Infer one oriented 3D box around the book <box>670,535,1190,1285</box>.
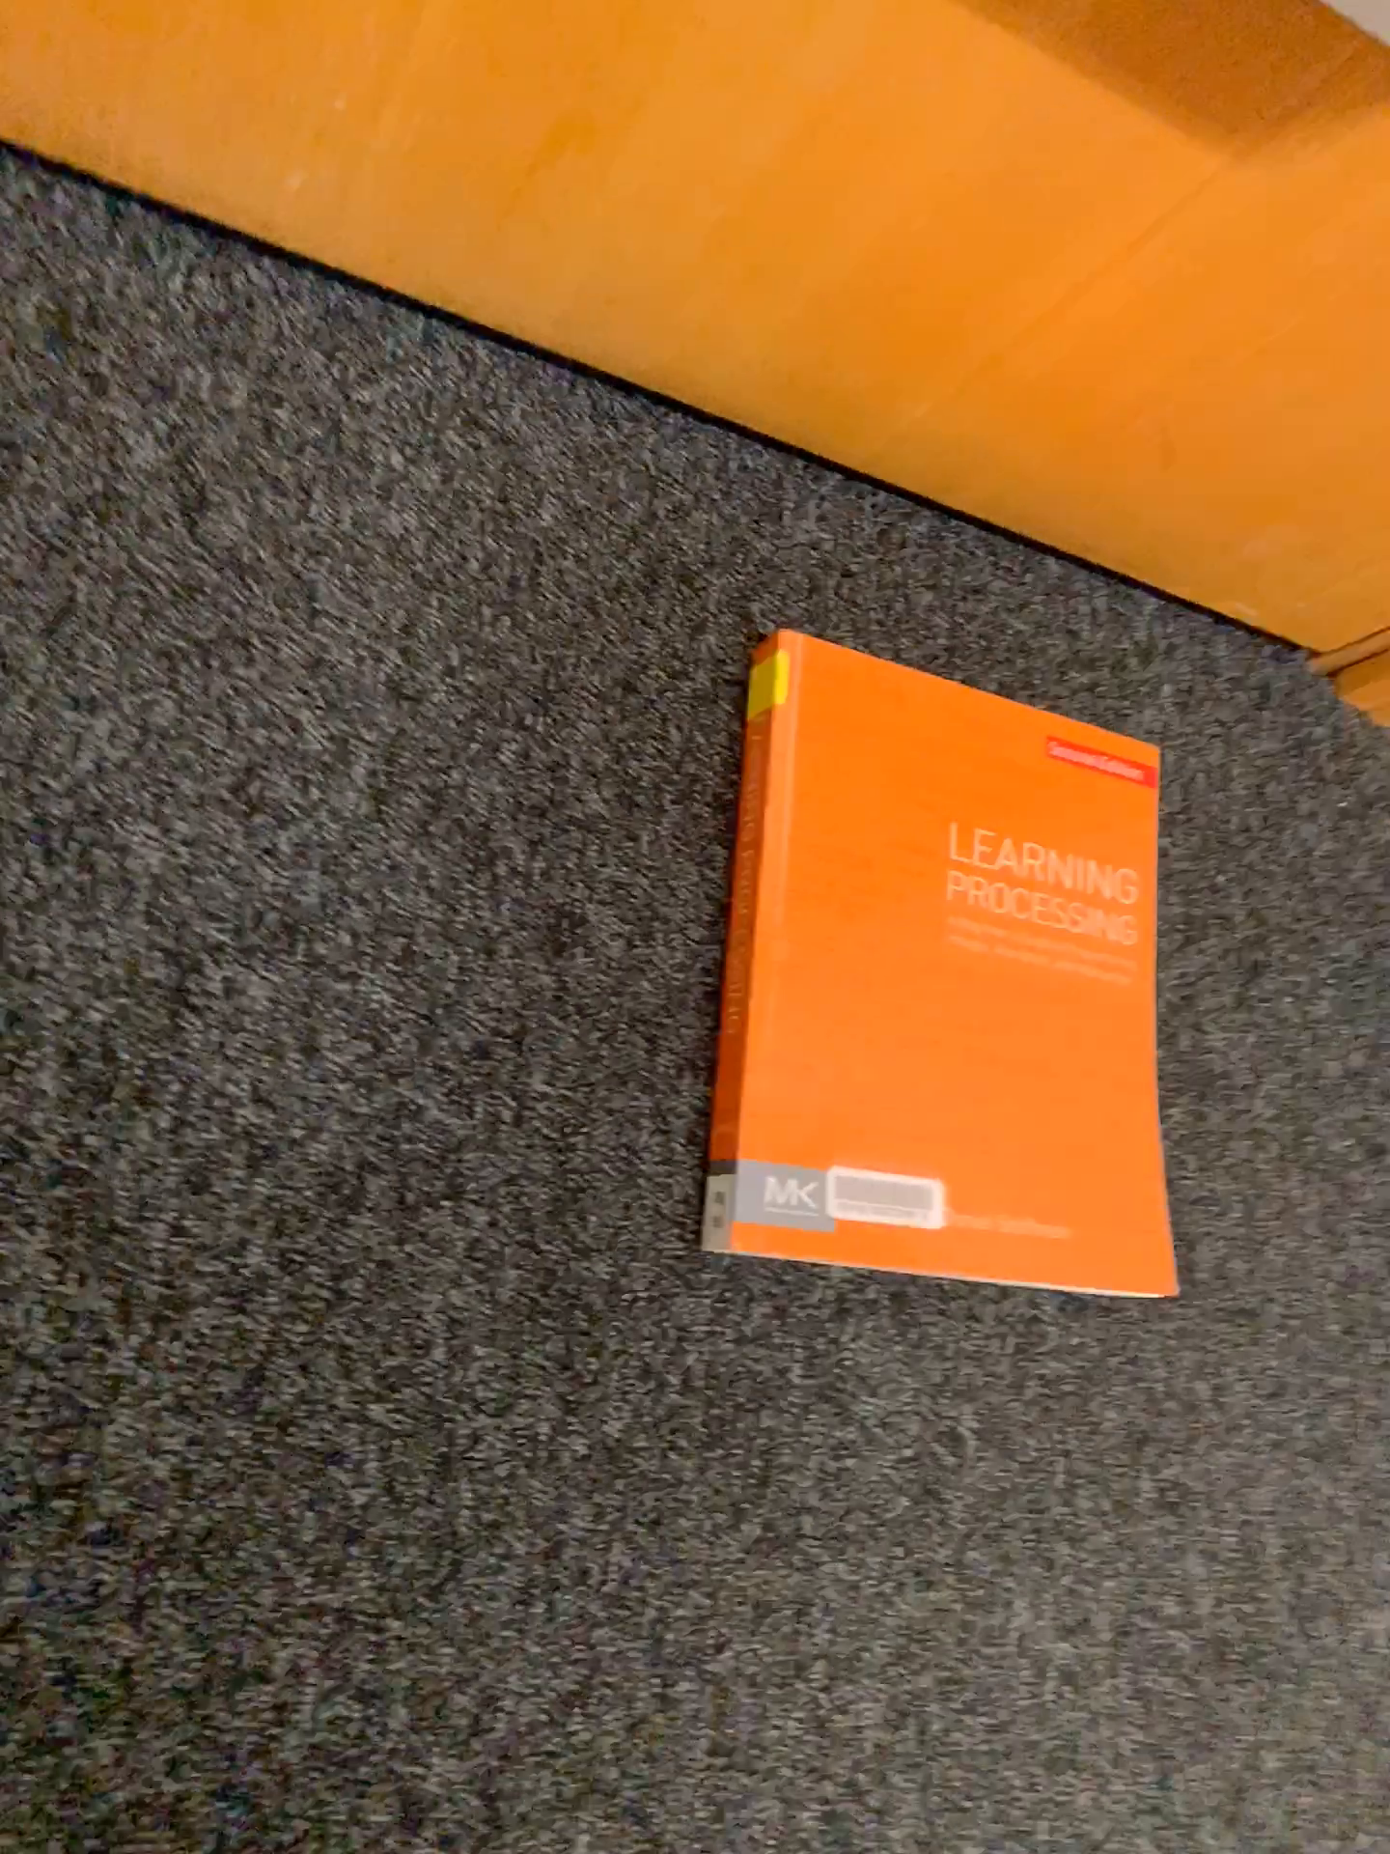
[{"bbox_3d":[0.104,0.000,0.565,0.211,0.040,0.260,12,74,-25],"label":"book"}]
